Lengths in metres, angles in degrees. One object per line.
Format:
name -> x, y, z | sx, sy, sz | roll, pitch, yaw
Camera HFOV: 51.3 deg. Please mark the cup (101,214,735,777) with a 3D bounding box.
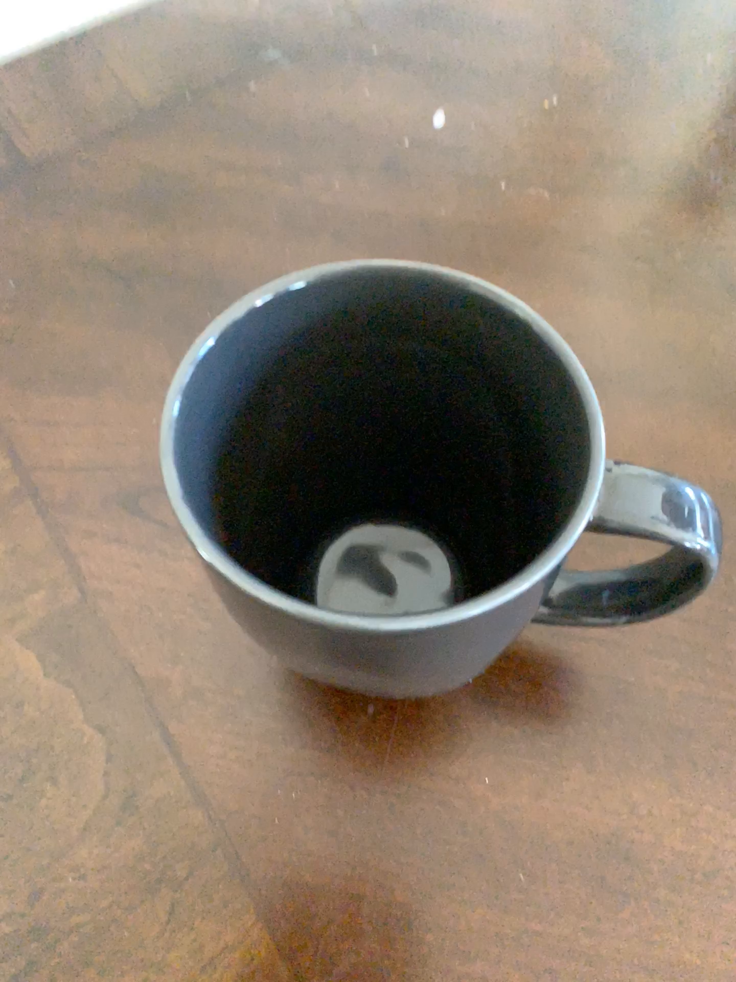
cup -> 0.018, 0.007, 0.181 | 0.107, 0.096, 0.089 | 5, 63, 6
